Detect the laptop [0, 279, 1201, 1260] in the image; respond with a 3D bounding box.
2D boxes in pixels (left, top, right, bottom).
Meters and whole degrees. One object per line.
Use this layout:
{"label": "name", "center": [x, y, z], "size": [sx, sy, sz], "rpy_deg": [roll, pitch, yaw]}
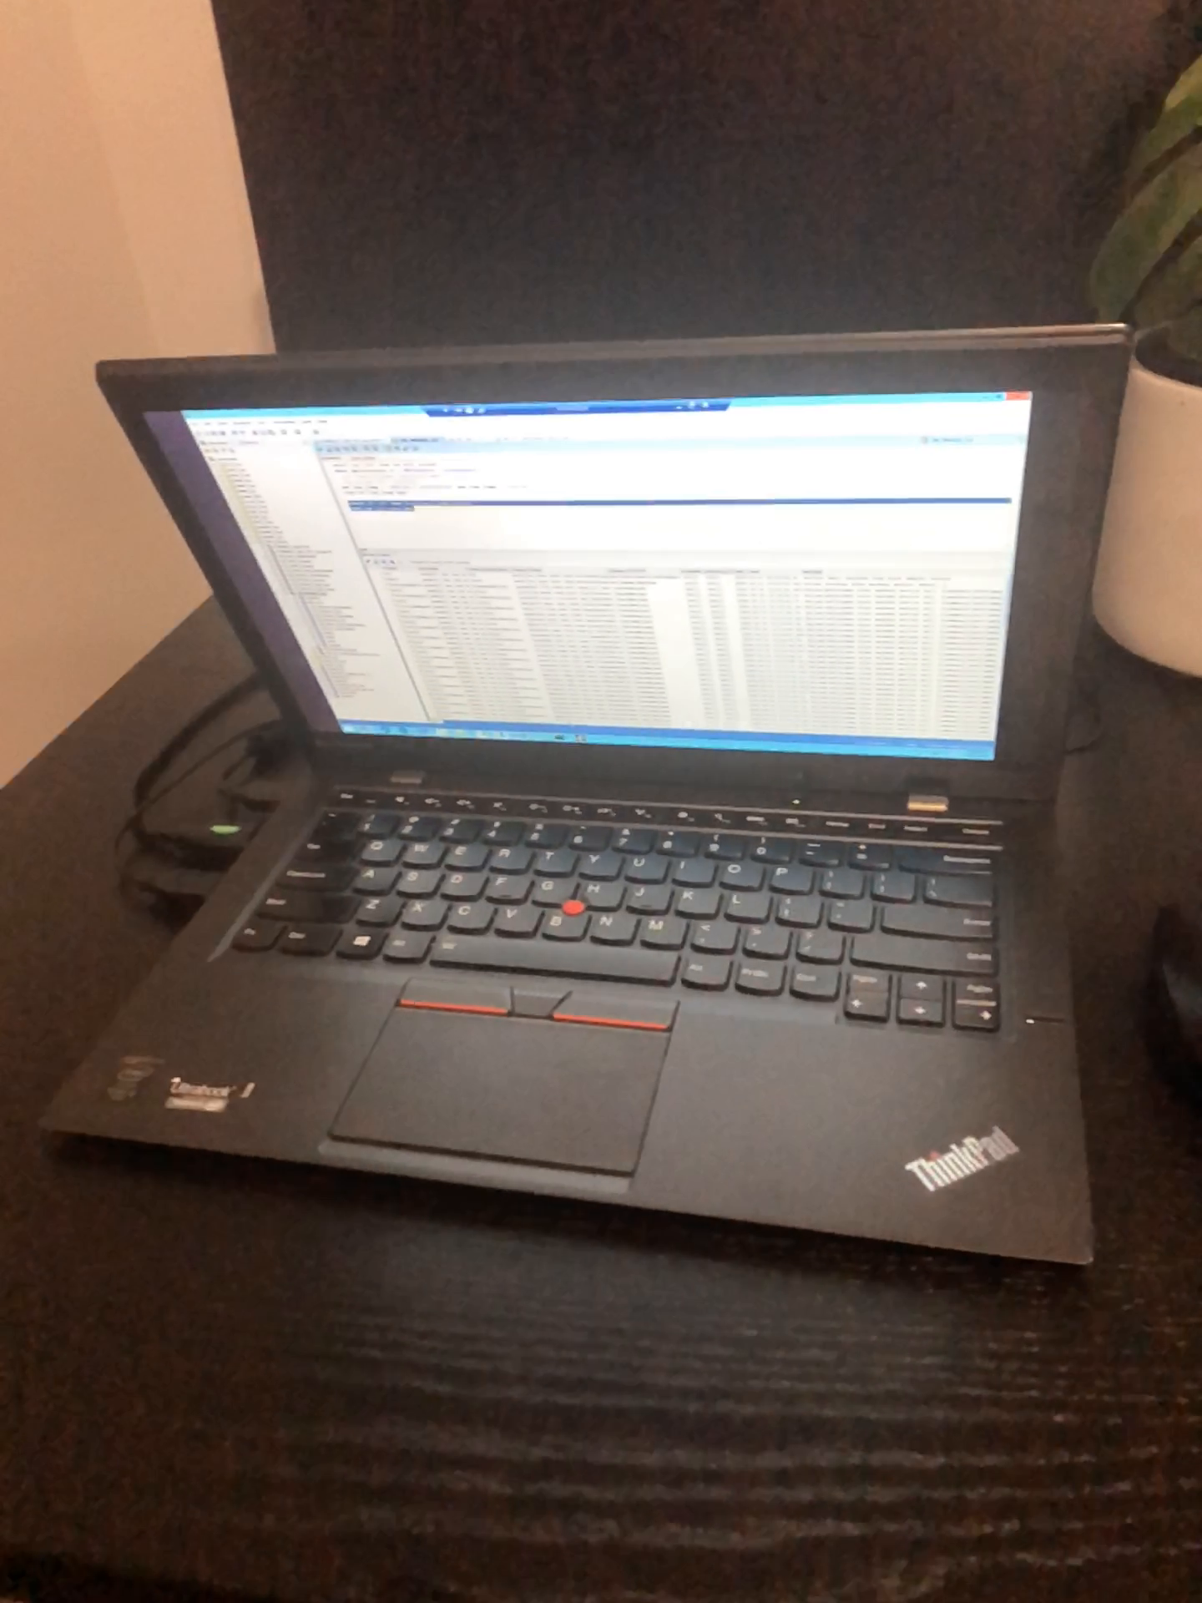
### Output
{"label": "laptop", "center": [-0.013, -0.036, 0.453], "size": [0.340, 0.214, 0.245], "rpy_deg": [2, 31, 14]}
